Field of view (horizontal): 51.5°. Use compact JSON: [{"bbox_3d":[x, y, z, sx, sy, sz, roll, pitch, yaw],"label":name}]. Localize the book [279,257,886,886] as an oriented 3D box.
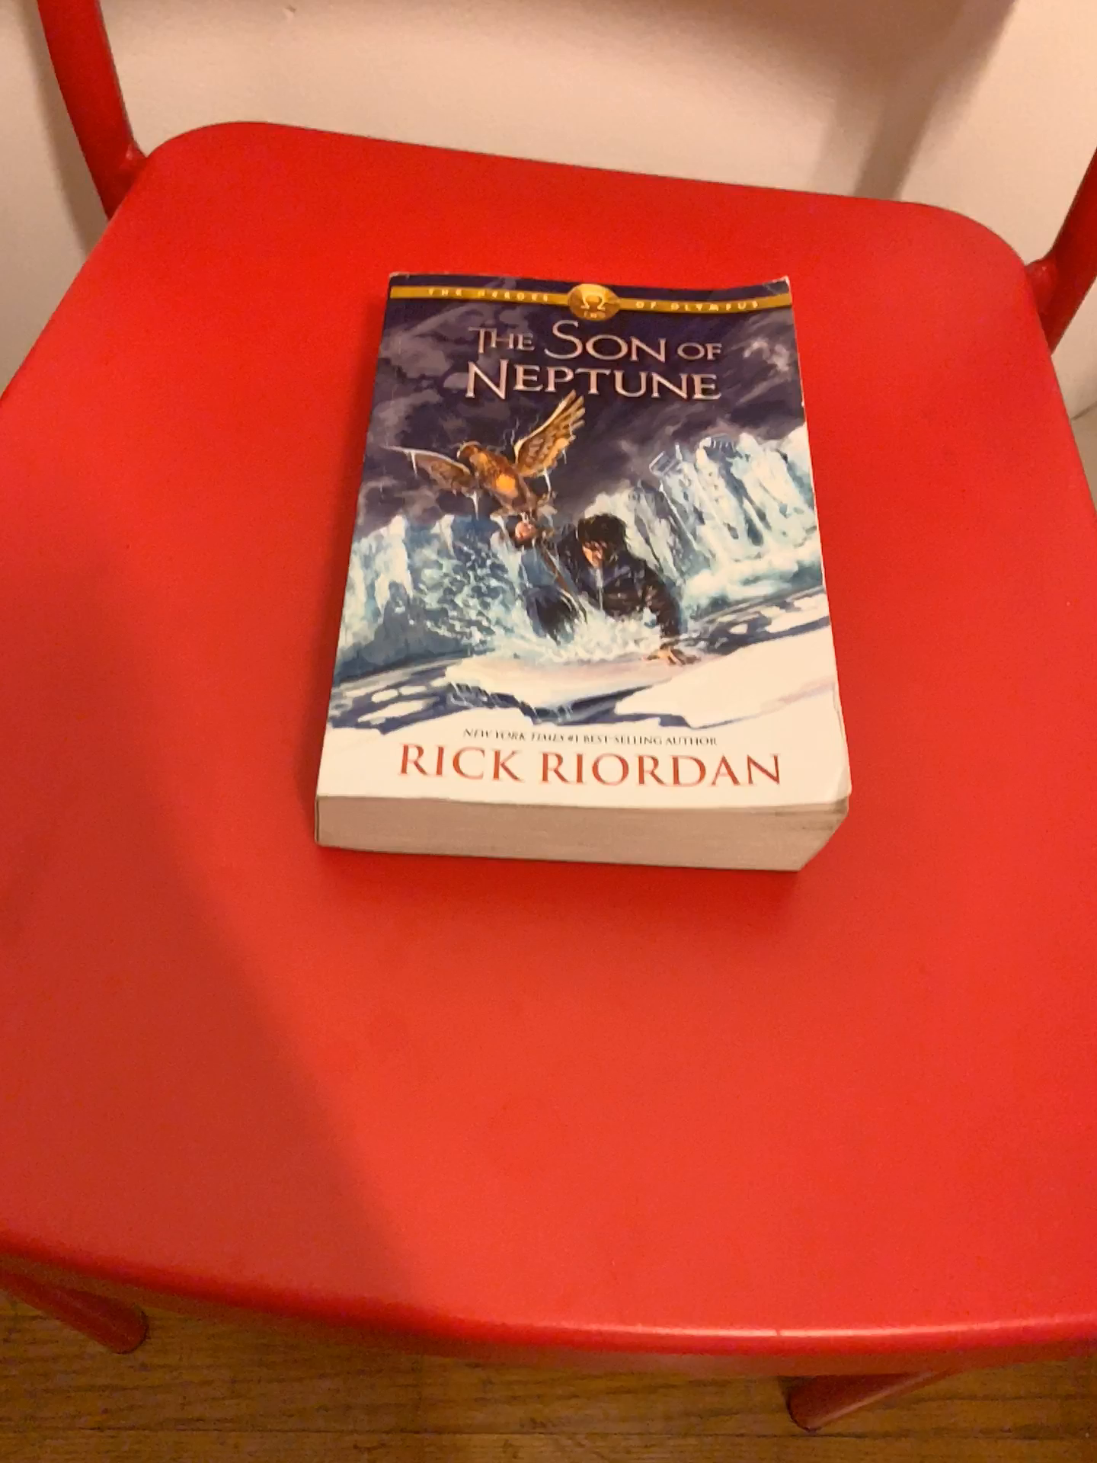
[{"bbox_3d":[0.010,-0.054,0.330,0.142,0.040,0.189,4,59,-3],"label":"book"}]
